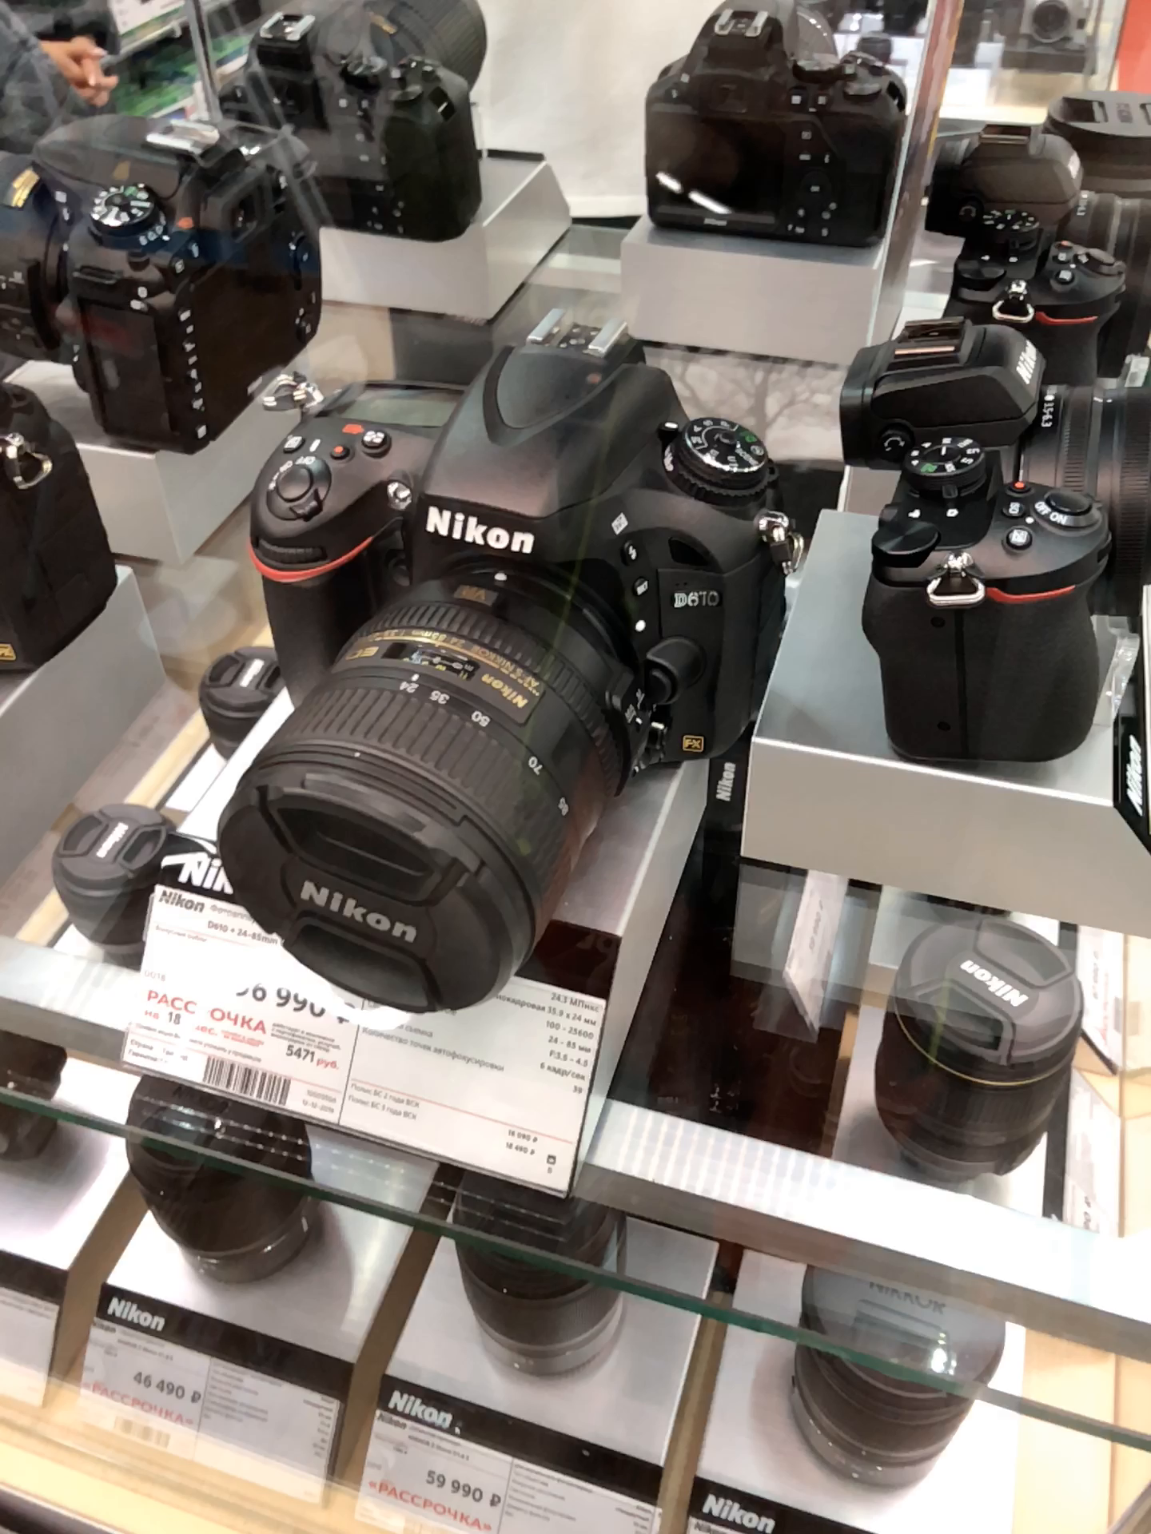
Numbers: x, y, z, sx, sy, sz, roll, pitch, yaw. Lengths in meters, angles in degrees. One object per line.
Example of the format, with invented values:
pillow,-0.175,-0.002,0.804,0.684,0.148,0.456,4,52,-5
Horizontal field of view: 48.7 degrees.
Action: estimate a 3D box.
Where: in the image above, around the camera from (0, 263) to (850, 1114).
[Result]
camera,-0.032,-0.032,0.315,0.148,0.109,0.151,17,46,19
